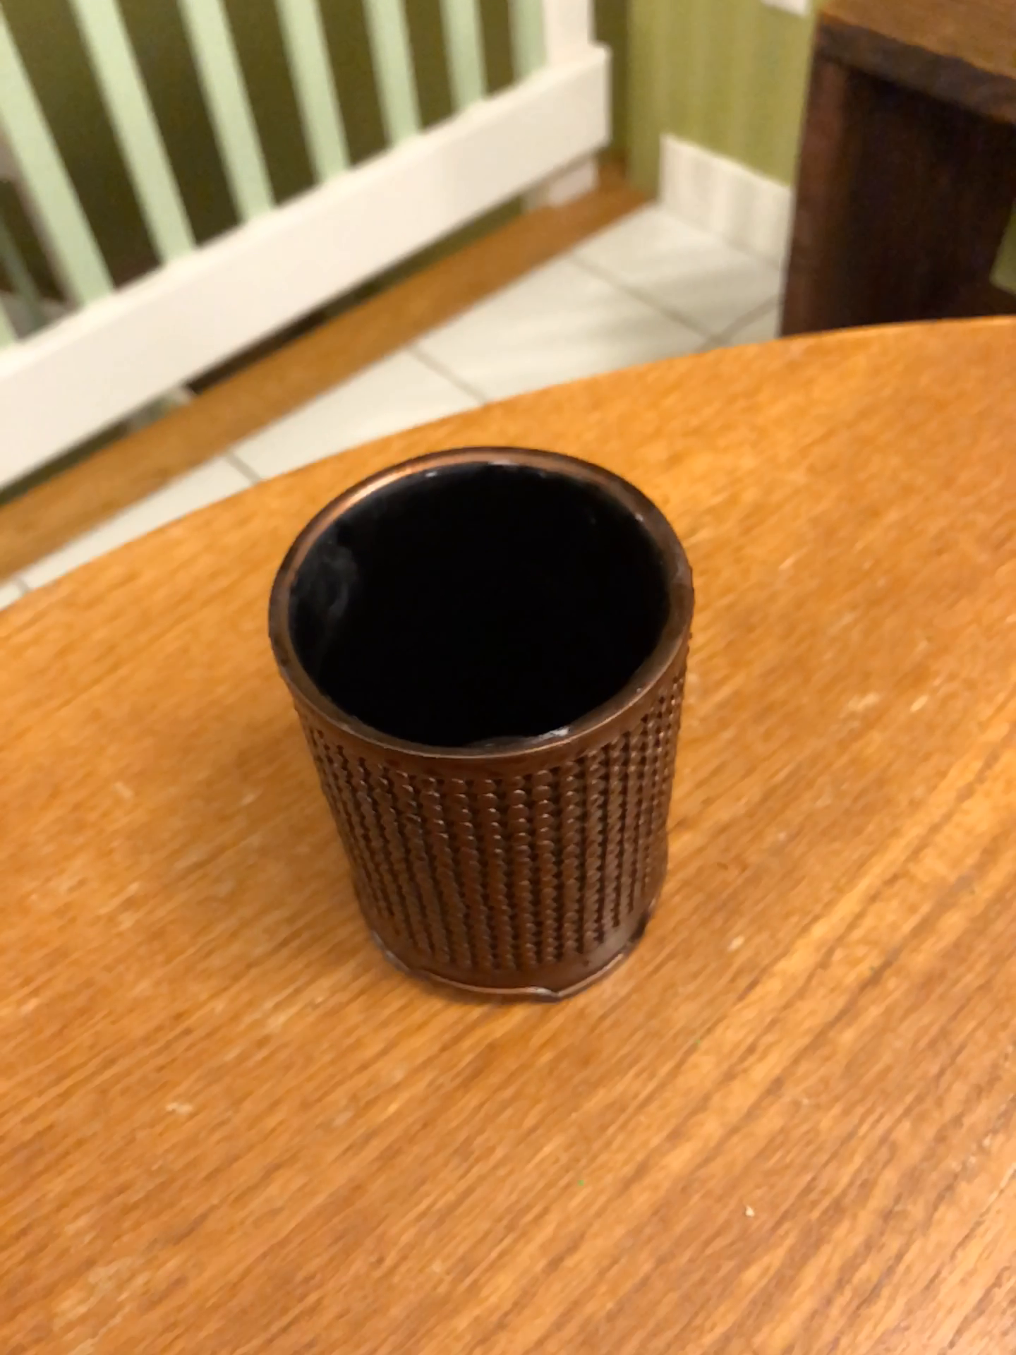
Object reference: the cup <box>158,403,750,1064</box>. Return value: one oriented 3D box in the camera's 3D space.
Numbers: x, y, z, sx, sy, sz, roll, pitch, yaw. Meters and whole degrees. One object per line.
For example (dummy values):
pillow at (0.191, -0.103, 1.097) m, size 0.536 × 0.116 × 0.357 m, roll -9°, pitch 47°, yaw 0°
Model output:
cup at (-0.005, 0.013, 0.236) m, size 0.077 × 0.097 × 0.073 m, roll -2°, pitch 52°, yaw 3°
